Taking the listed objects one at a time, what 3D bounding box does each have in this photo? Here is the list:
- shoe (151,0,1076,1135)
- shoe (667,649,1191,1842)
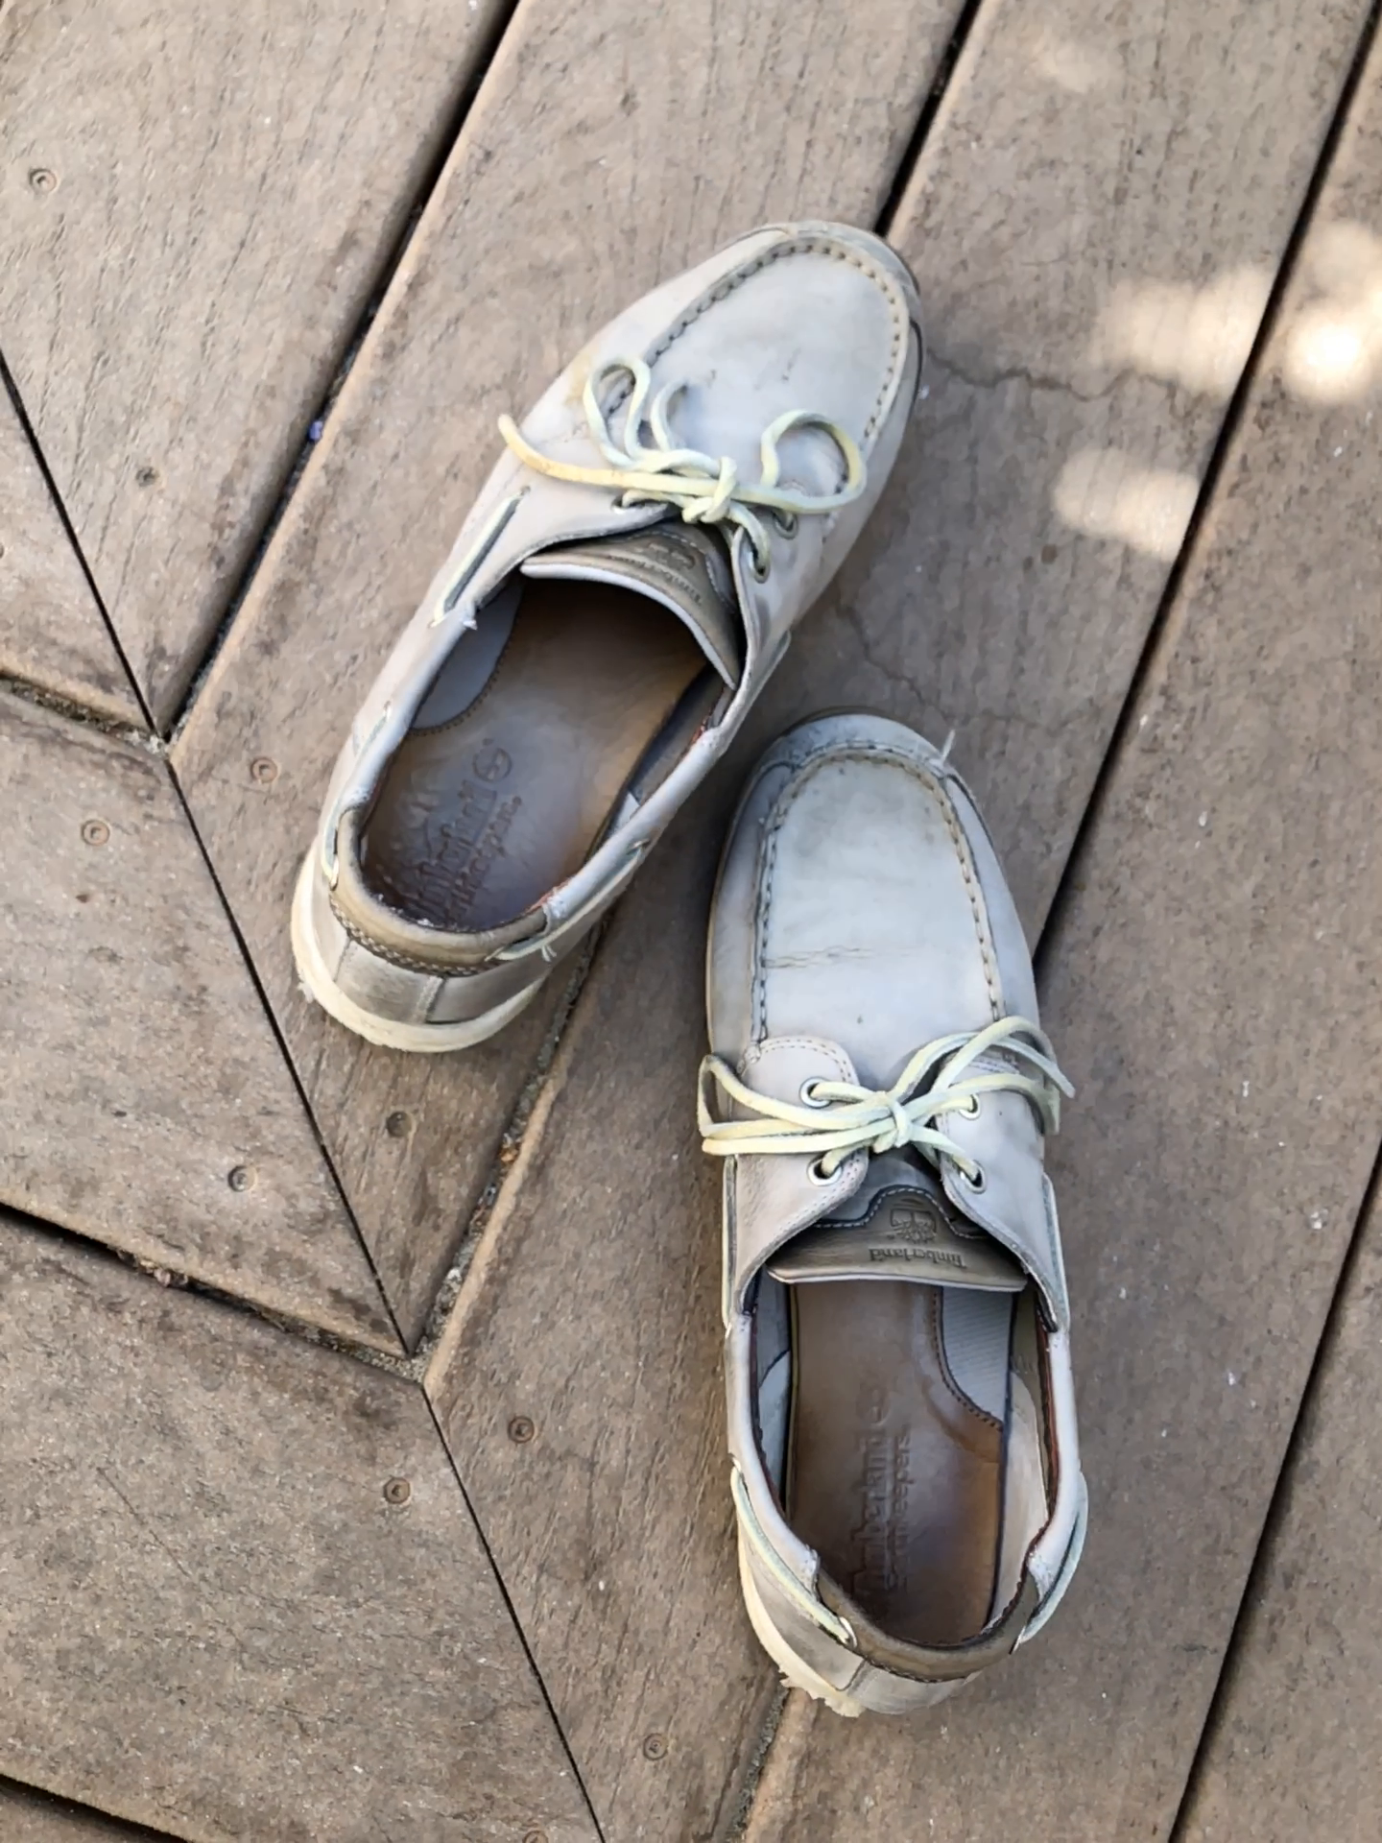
[{"bbox_3d":[-0.019,-0.103,0.466,0.116,0.099,0.314,30,78,-6],"label":"shoe"},{"bbox_3d":[0.063,0.088,0.462,0.120,0.109,0.310,2,83,-11],"label":"shoe"}]
